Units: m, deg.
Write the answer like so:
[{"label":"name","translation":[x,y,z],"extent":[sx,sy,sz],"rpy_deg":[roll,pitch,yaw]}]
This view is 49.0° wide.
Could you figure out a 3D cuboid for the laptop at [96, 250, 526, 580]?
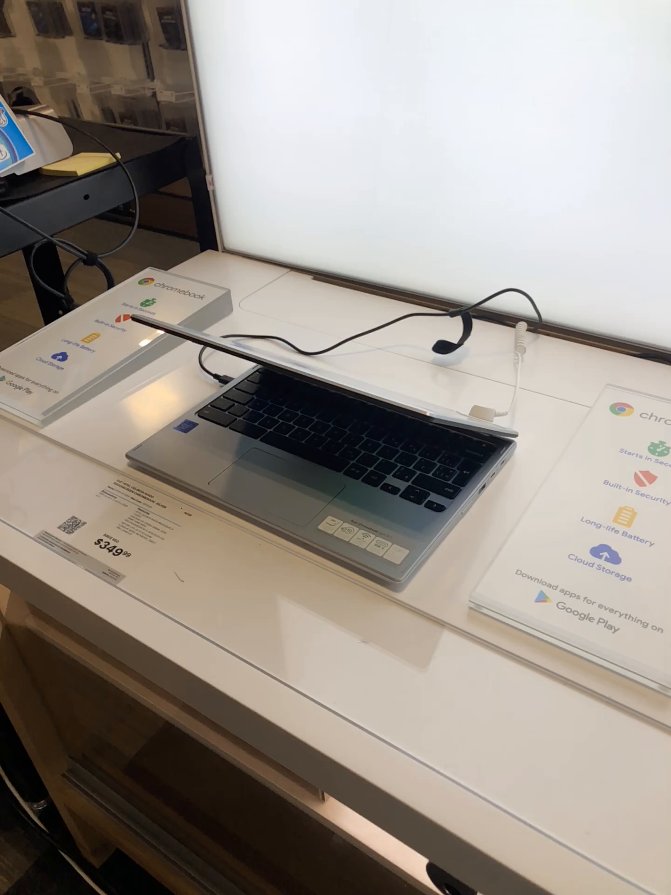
[{"label":"laptop","translation":[-0.018,-0.048,0.617],"extent":[0.280,0.123,0.192],"rpy_deg":[21,43,29]}]
